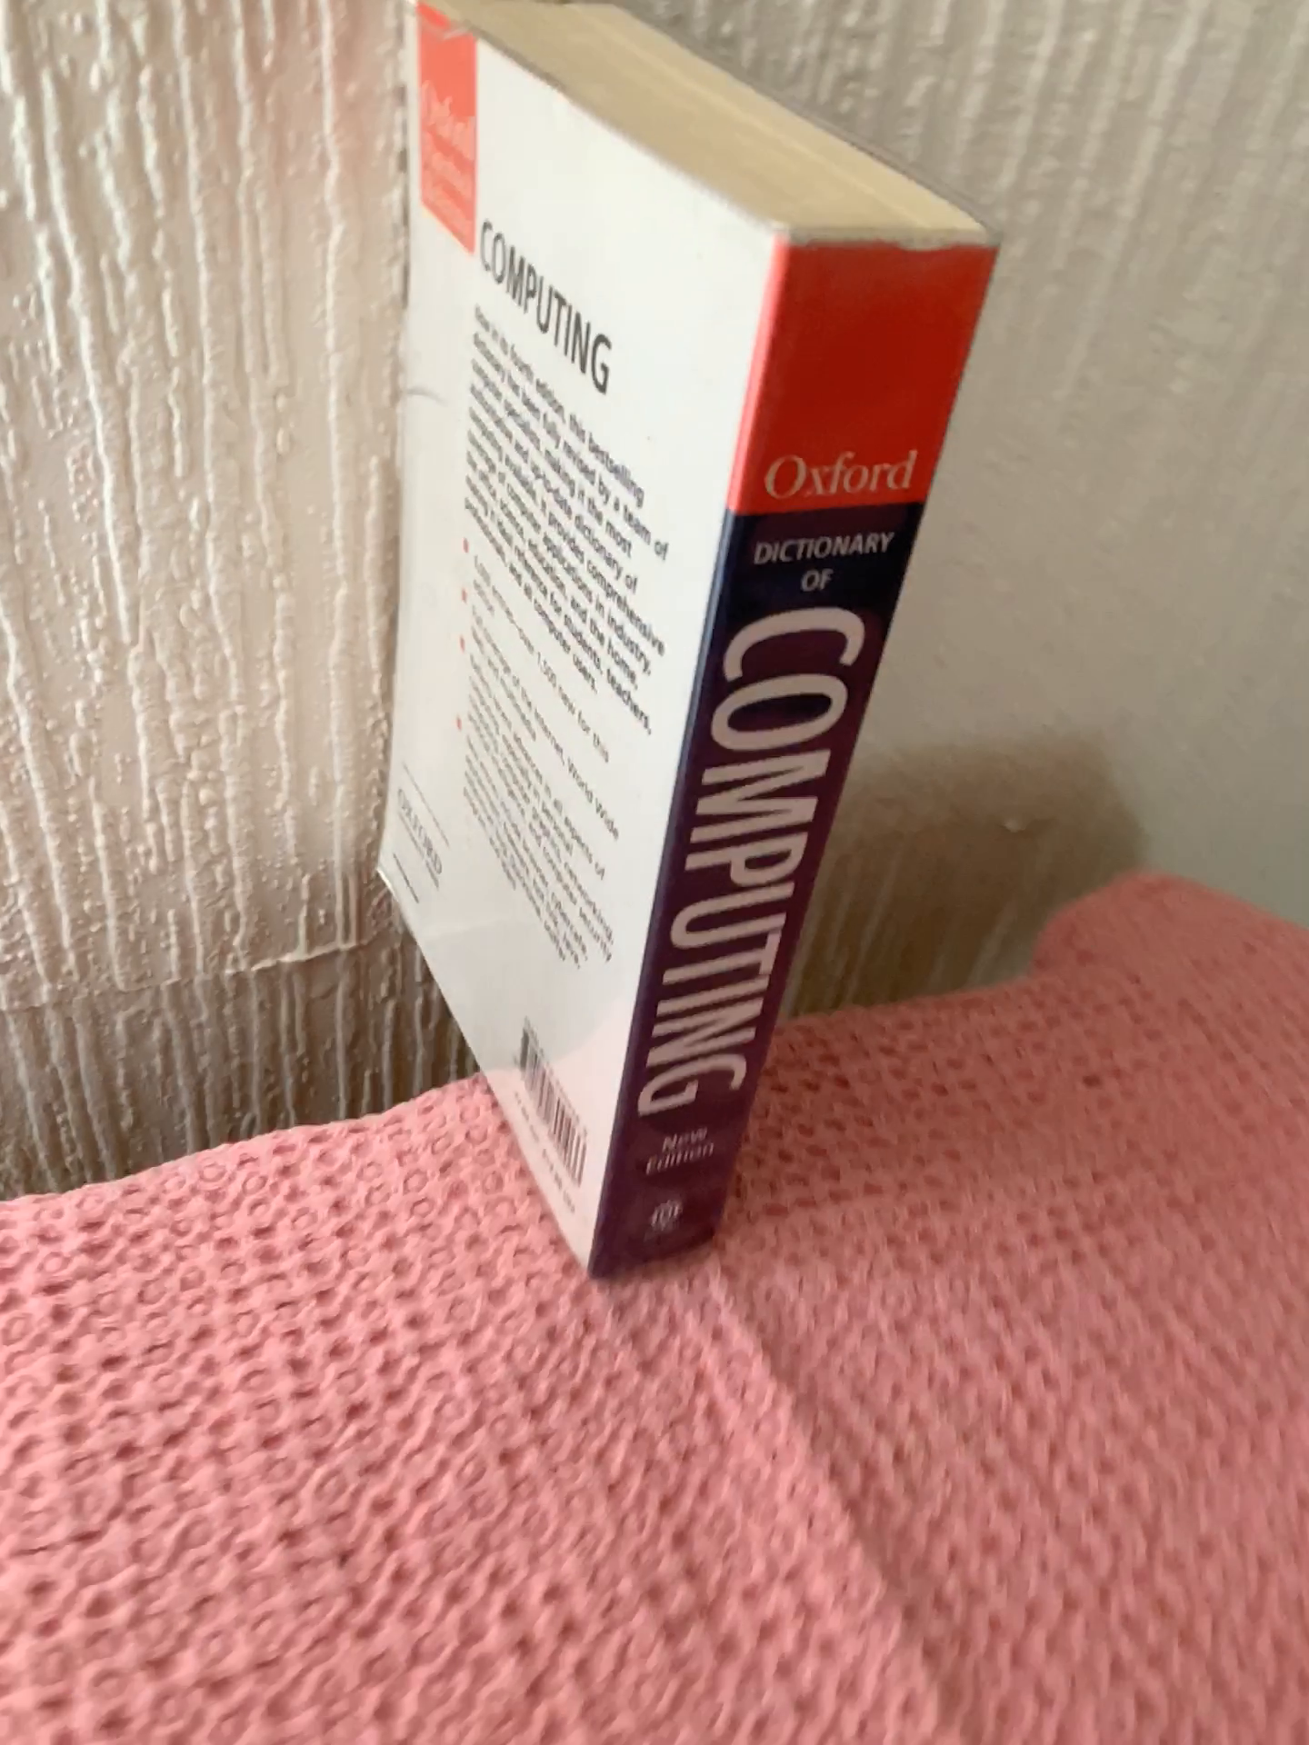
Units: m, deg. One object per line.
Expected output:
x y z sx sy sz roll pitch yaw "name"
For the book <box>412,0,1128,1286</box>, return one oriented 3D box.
-0.006 -0.044 0.252 0.040 0.188 0.151 -9 45 -20 "book"
